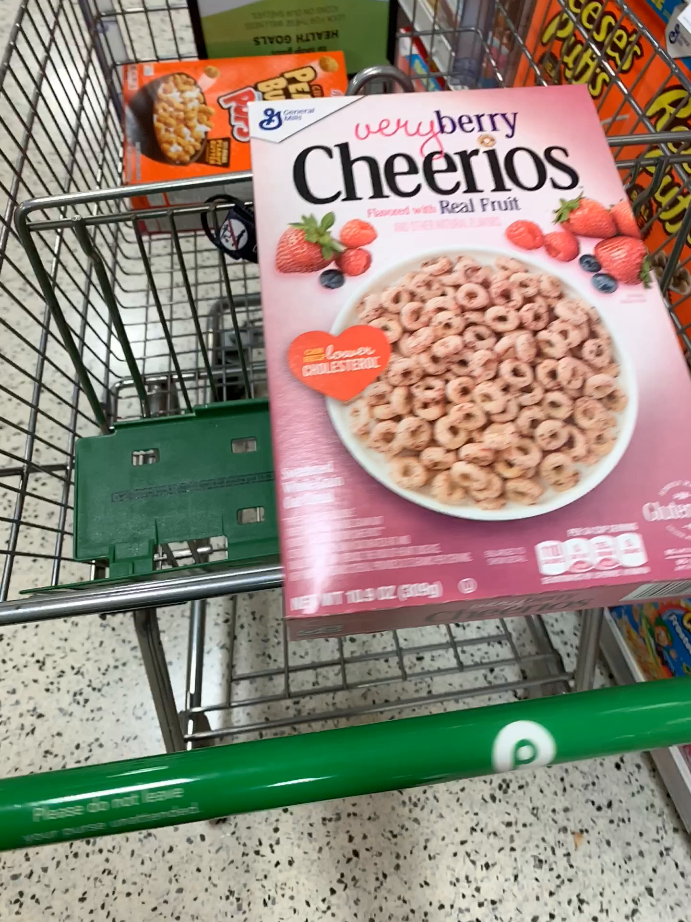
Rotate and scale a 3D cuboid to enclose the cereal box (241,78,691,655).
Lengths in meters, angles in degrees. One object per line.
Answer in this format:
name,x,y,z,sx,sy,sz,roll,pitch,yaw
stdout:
cereal box,0.063,-0.062,0.357,0.210,0.060,0.282,-5,66,-4
